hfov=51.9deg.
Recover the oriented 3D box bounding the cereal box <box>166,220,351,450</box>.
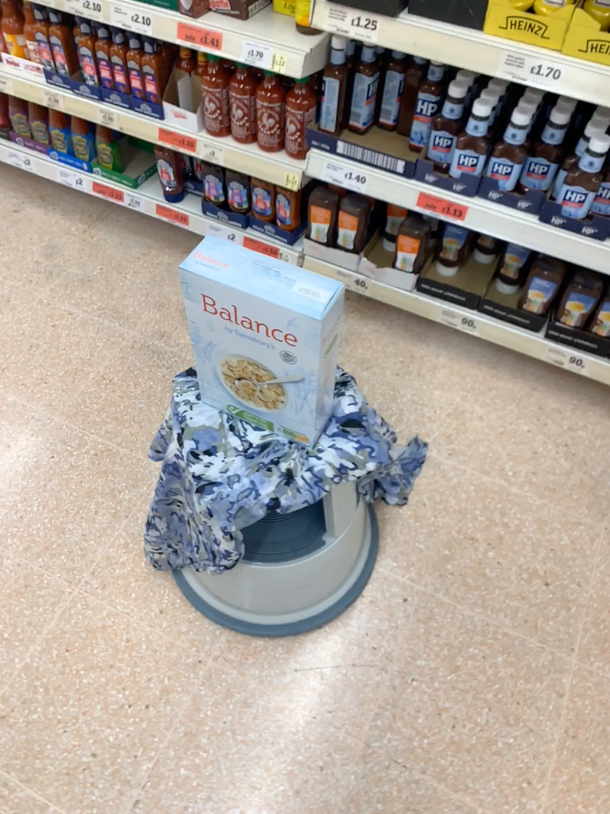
[{"bbox_3d":[-0.062,-0.085,0.849,0.210,0.278,0.070,24,56,14],"label":"cereal box"}]
